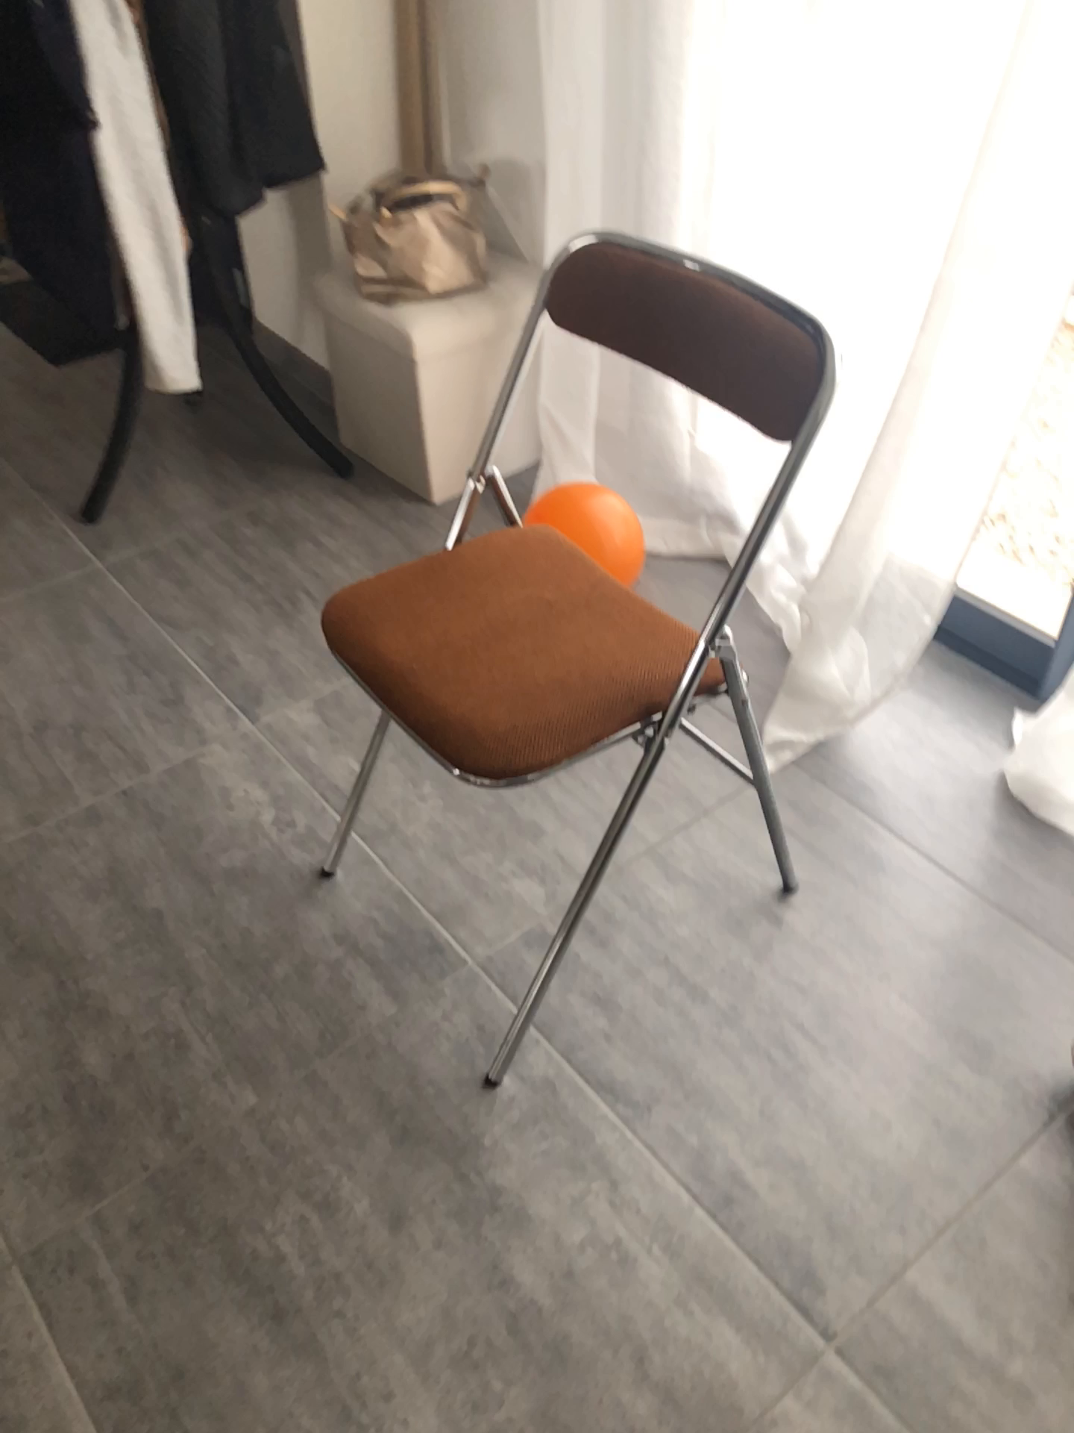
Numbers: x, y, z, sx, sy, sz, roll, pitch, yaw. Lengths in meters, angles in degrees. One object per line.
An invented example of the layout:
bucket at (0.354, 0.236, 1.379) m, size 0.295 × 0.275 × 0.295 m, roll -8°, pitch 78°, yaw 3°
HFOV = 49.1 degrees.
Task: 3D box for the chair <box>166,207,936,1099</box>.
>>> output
chair at (0.010, -0.086, 1.350) m, size 0.552 × 0.736 × 0.481 m, roll -26°, pitch 46°, yaw -26°
